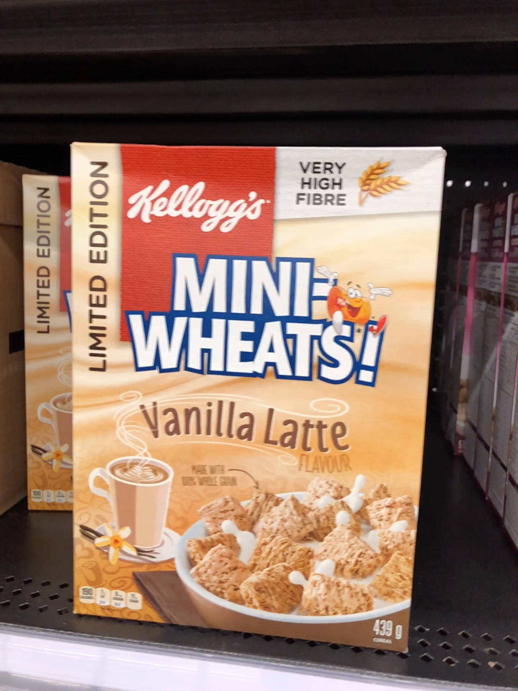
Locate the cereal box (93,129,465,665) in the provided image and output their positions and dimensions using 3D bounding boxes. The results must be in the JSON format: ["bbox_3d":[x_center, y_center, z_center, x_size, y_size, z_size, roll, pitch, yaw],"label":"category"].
[{"bbox_3d":[0.006,0.026,0.338,0.190,0.279,0.060,3,7,8],"label":"cereal box"}]
